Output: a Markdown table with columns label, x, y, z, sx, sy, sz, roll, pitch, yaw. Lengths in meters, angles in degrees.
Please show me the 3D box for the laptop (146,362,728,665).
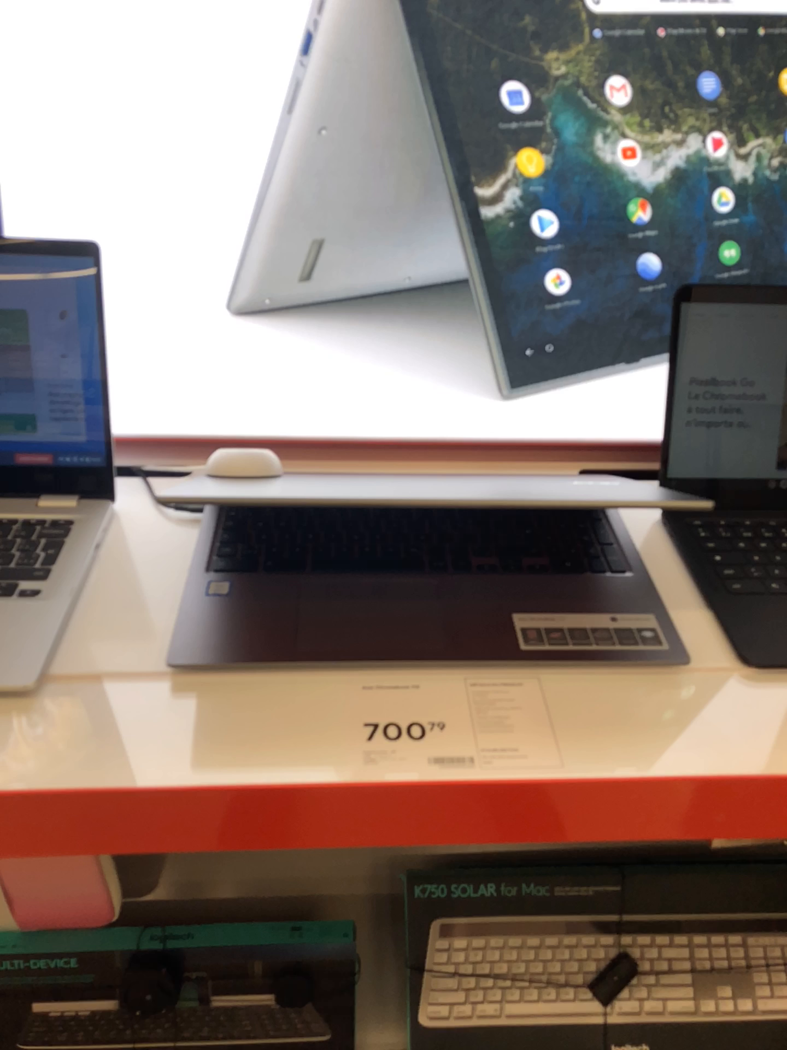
| label | x | y | z | sx | sy | sz | roll | pitch | yaw |
| --- | --- | --- | --- | --- | --- | --- | --- | --- | --- |
| laptop | 0.026 | -0.021 | 0.664 | 0.368 | 0.109 | 0.245 | 0 | 34 | -6 |
